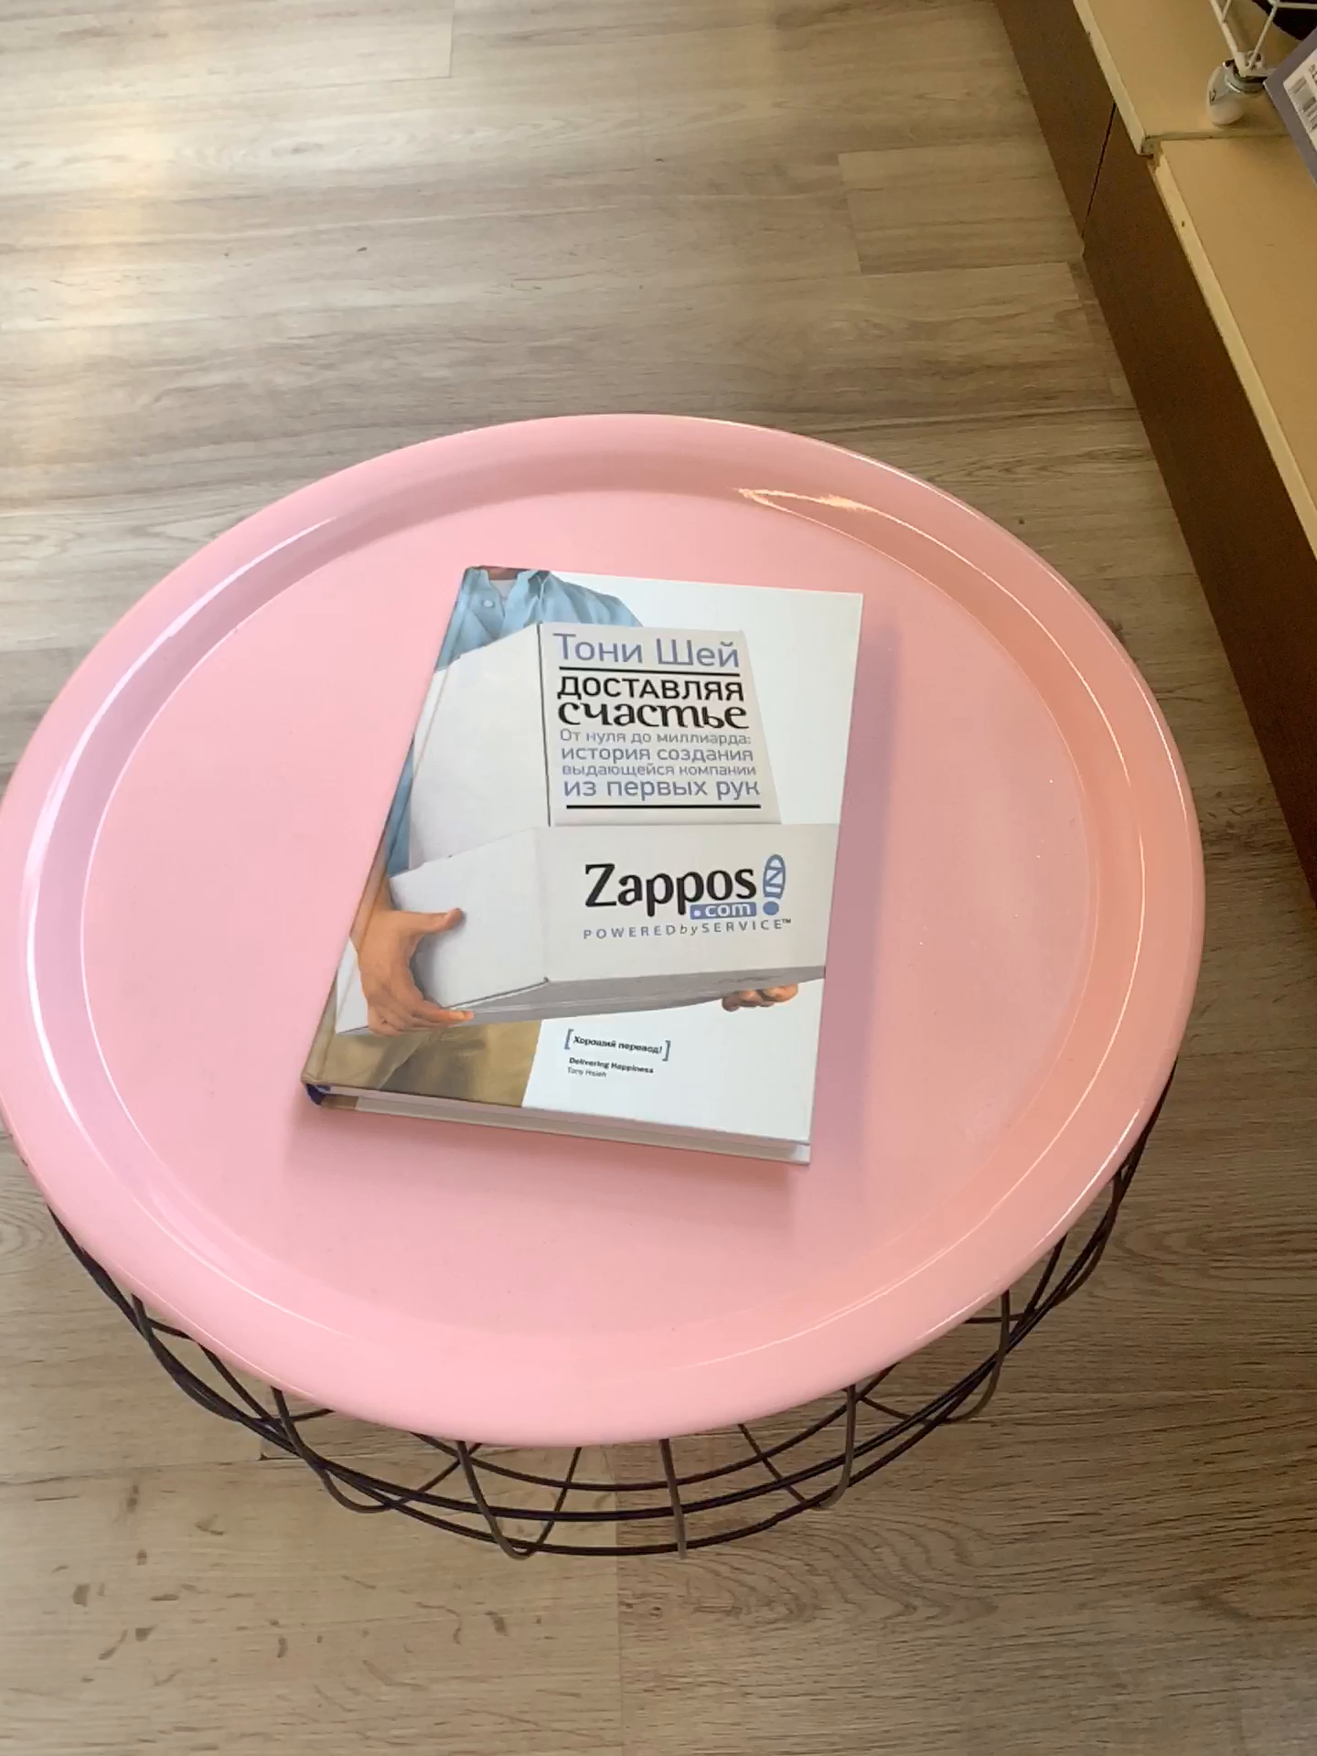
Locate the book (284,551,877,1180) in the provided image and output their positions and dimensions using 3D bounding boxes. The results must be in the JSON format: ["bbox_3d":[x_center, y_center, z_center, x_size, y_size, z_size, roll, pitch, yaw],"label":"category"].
[{"bbox_3d":[-0.016,-0.018,0.491,0.170,0.030,0.232,6,59,7],"label":"book"}]
